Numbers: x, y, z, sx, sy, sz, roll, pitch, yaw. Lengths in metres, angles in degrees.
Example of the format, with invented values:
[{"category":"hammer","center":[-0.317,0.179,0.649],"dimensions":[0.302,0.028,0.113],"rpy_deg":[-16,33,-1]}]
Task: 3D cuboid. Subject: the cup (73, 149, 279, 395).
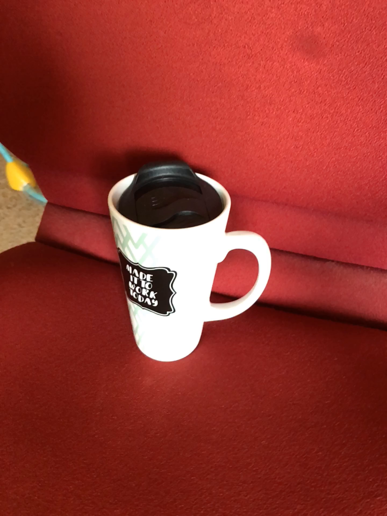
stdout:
[{"category":"cup","center":[-0.007,0.011,0.350],"dimensions":[0.120,0.160,0.080],"rpy_deg":[16,43,22]}]
